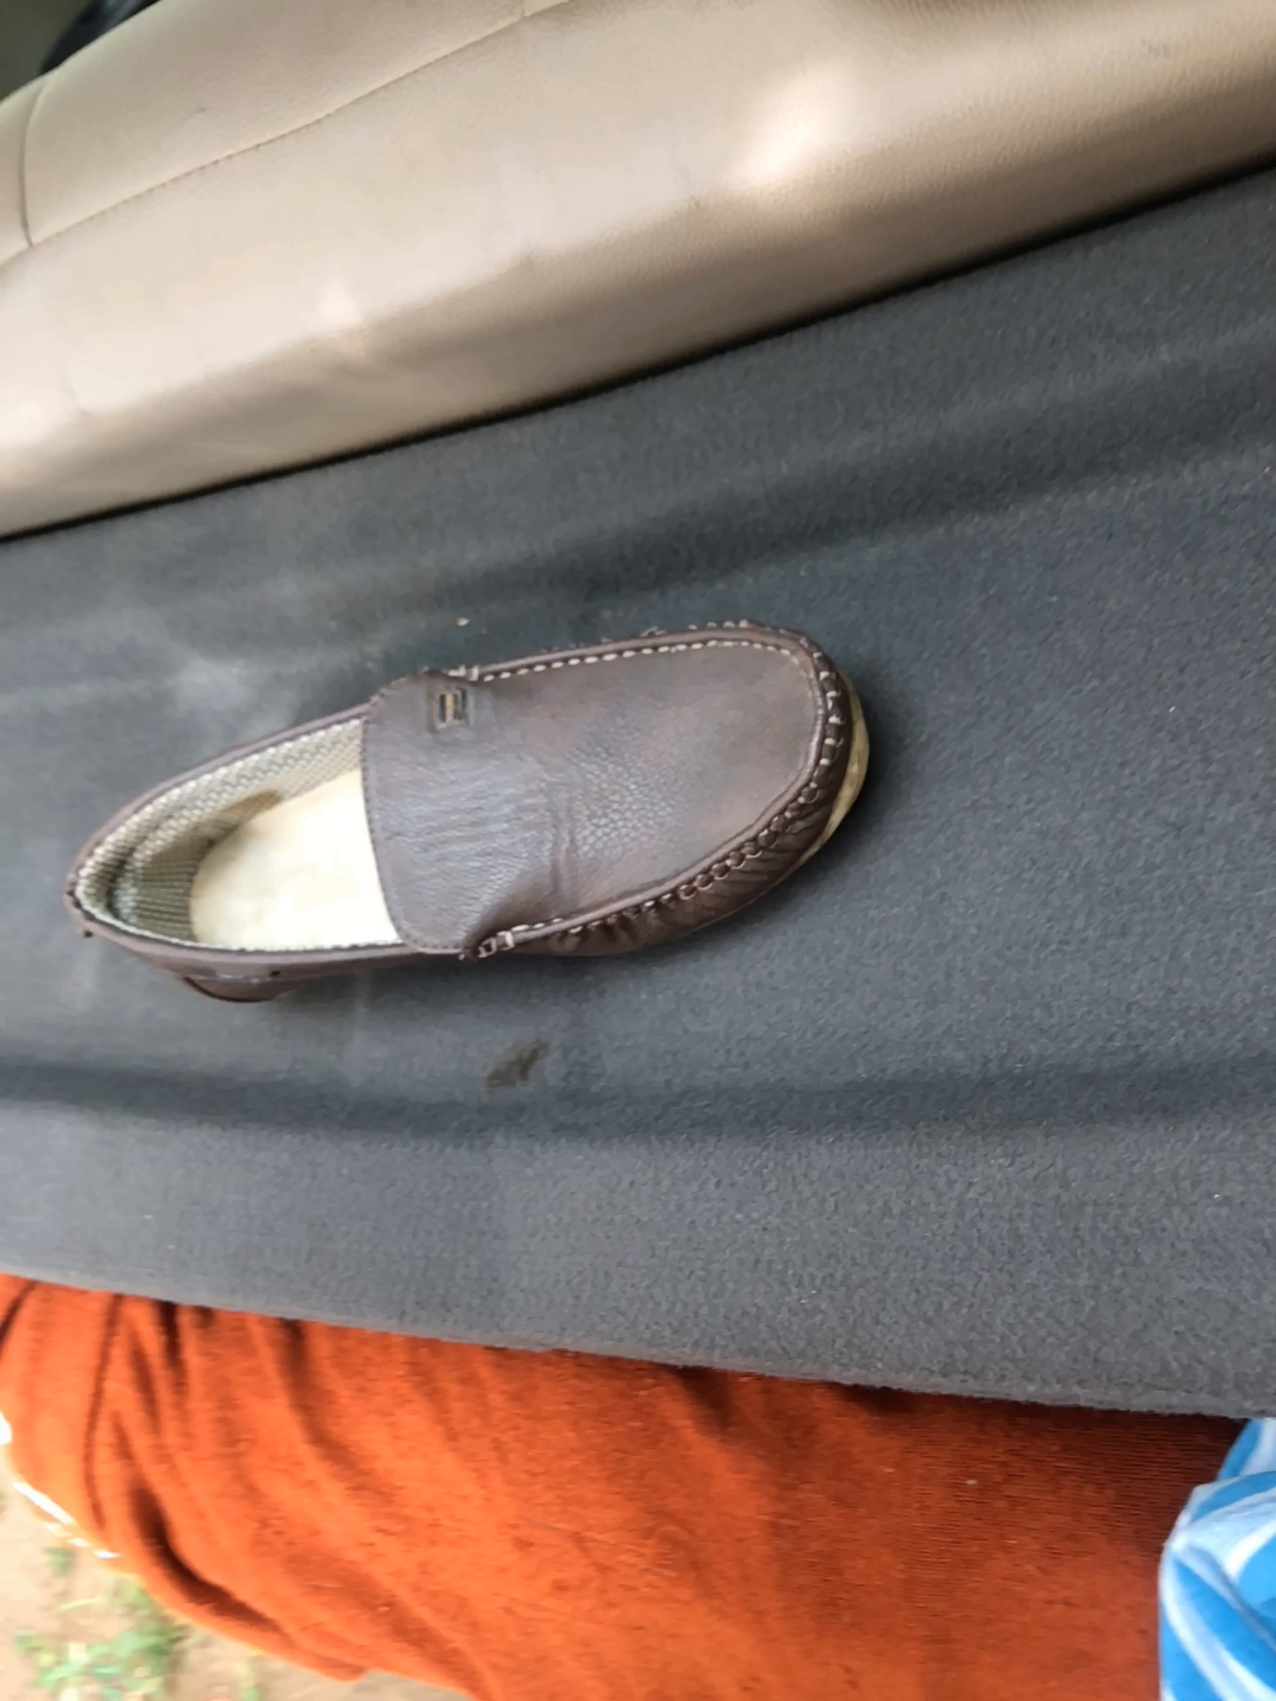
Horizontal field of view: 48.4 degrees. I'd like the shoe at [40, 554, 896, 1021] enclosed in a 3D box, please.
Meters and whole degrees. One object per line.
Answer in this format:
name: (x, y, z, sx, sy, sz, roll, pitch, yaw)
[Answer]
shoe: (-0.060, -0.007, 0.411, 0.260, 0.050, 0.080, -10, 69, 29)
